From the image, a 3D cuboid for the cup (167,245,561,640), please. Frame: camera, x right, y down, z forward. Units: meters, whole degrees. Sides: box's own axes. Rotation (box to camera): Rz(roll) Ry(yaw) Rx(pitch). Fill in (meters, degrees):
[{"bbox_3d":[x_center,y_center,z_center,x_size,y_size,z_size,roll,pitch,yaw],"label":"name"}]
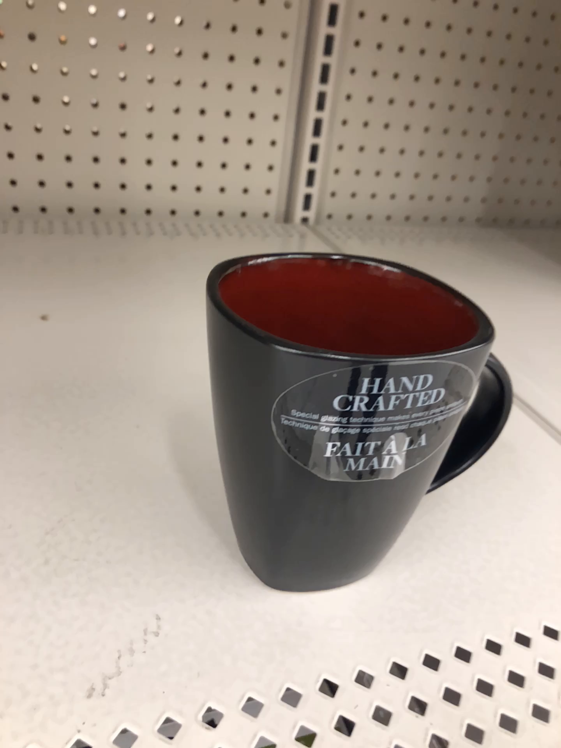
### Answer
[{"bbox_3d":[0.037,0.014,0.246,0.143,0.099,0.100,-5,31,-20],"label":"cup"}]
